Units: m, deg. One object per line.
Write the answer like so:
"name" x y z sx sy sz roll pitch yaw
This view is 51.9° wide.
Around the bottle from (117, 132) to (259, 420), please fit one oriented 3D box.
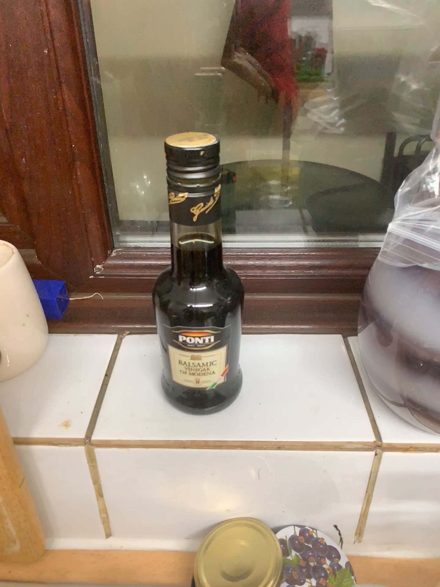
"bottle" -0.015 -0.006 0.300 0.070 0.178 0.071 0 32 0
